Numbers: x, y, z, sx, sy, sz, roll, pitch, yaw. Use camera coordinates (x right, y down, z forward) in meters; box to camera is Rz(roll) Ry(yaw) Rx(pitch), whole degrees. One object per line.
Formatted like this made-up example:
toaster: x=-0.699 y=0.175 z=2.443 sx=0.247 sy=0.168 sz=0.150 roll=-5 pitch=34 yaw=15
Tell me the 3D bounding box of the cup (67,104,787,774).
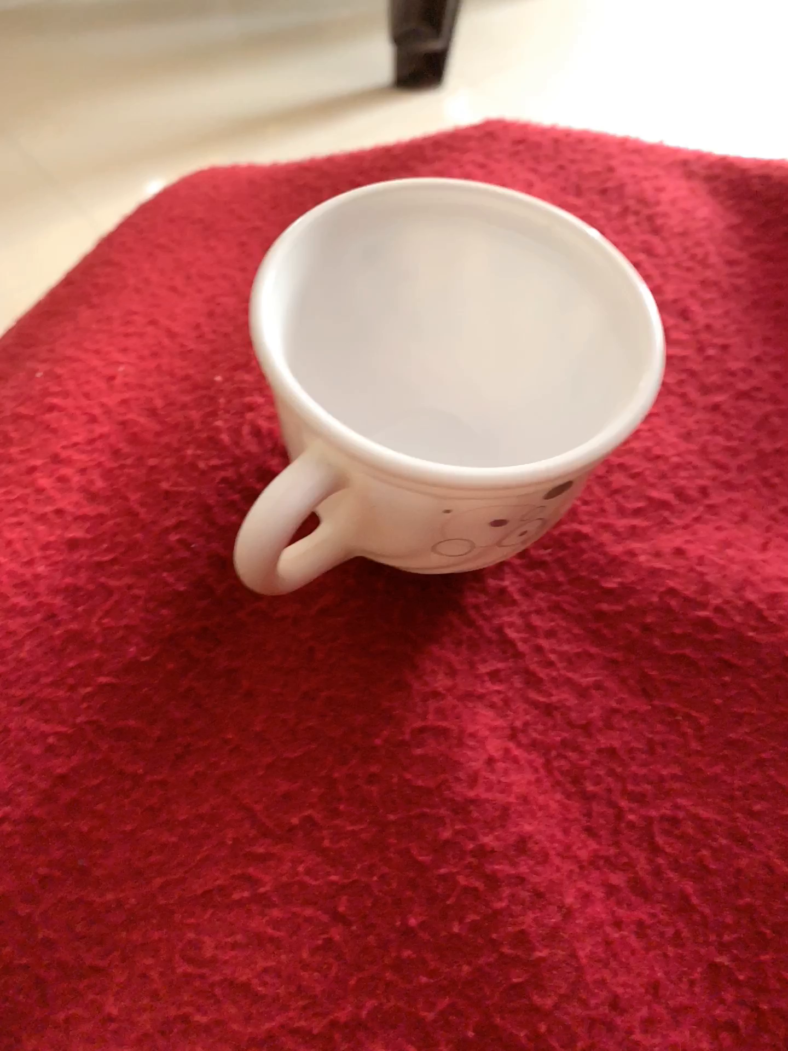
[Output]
cup: x=0.010 y=-0.023 z=0.163 sx=0.080 sy=0.050 sz=0.100 roll=37 pitch=63 yaw=21
